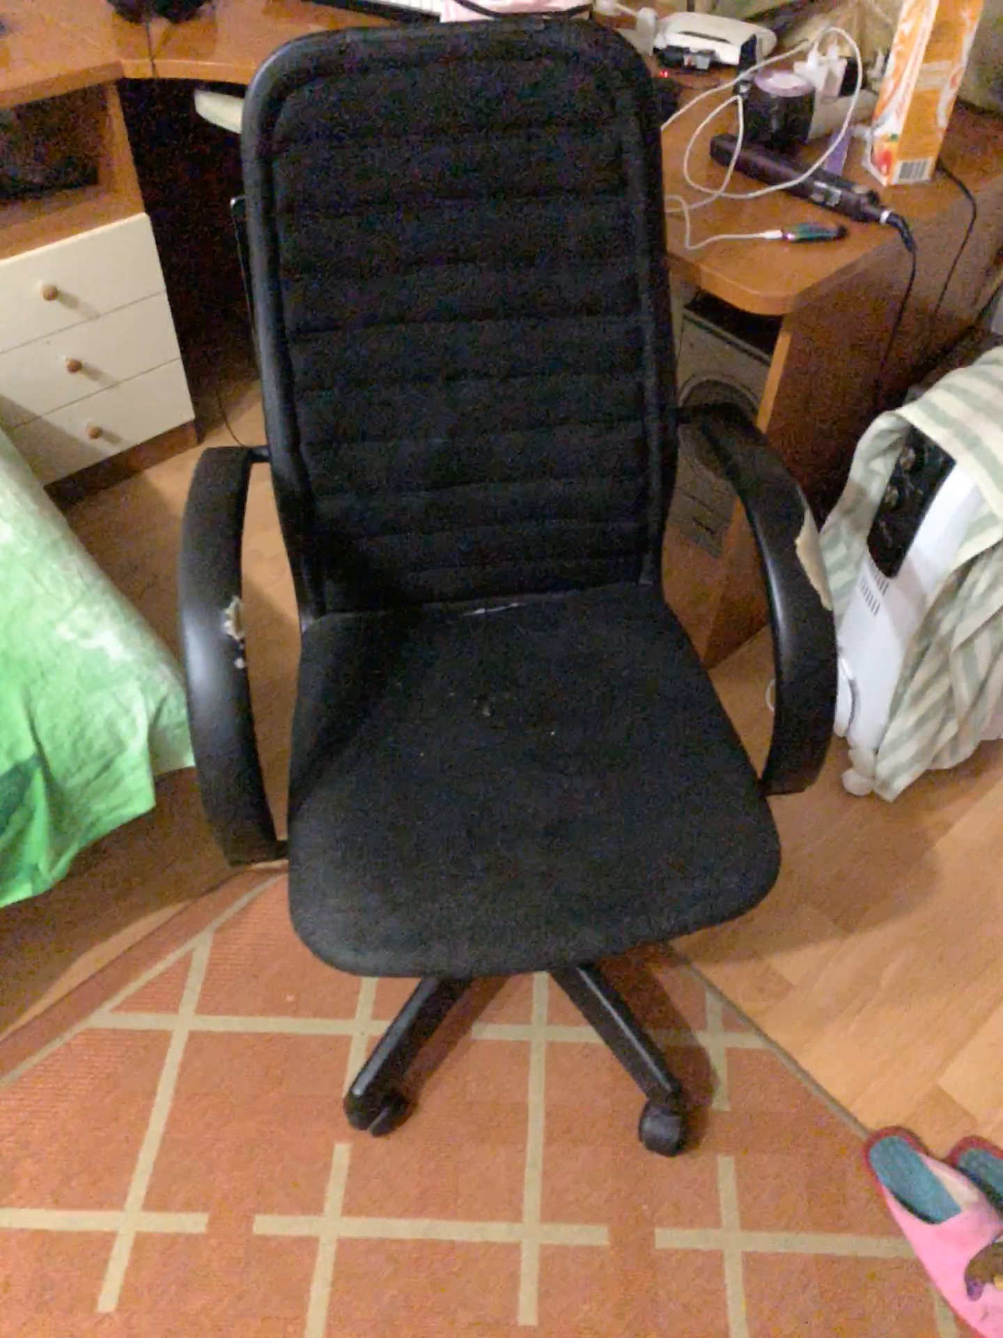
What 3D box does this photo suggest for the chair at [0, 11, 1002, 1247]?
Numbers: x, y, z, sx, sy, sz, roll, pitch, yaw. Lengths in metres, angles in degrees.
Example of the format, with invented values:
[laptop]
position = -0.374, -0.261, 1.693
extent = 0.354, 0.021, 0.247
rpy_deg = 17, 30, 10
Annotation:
[chair]
position = 0.039, 0.011, 1.048
extent = 0.670, 0.992, 0.726
rpy_deg = -7, 49, -8
